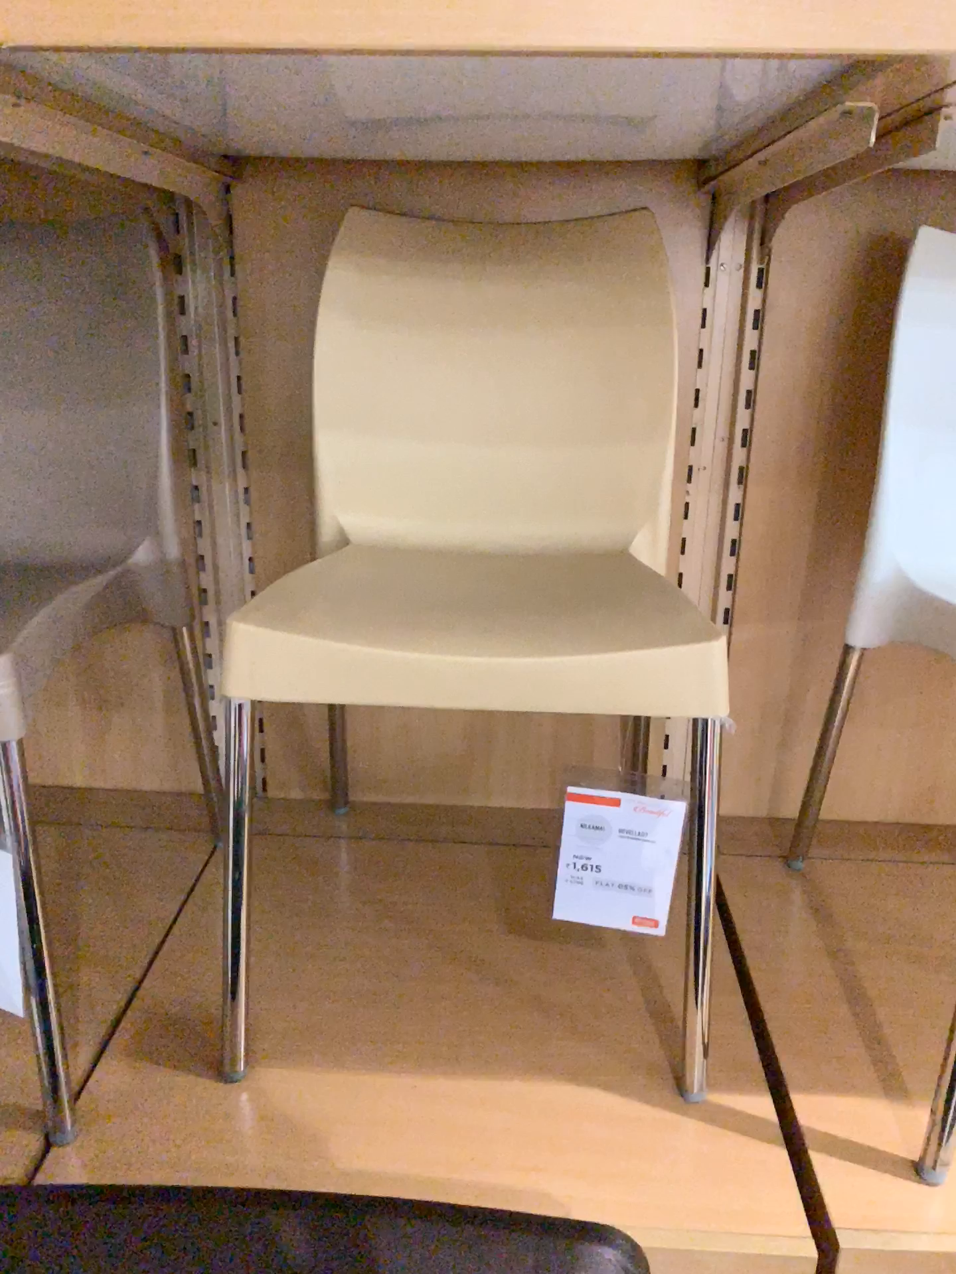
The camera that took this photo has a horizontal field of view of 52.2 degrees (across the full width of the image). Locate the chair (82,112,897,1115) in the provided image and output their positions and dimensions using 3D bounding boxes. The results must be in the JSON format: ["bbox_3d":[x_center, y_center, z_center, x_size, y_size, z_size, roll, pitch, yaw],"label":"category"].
[{"bbox_3d":[-0.010,-0.050,1.056,0.540,0.807,0.592,3,19,0],"label":"chair"}]
